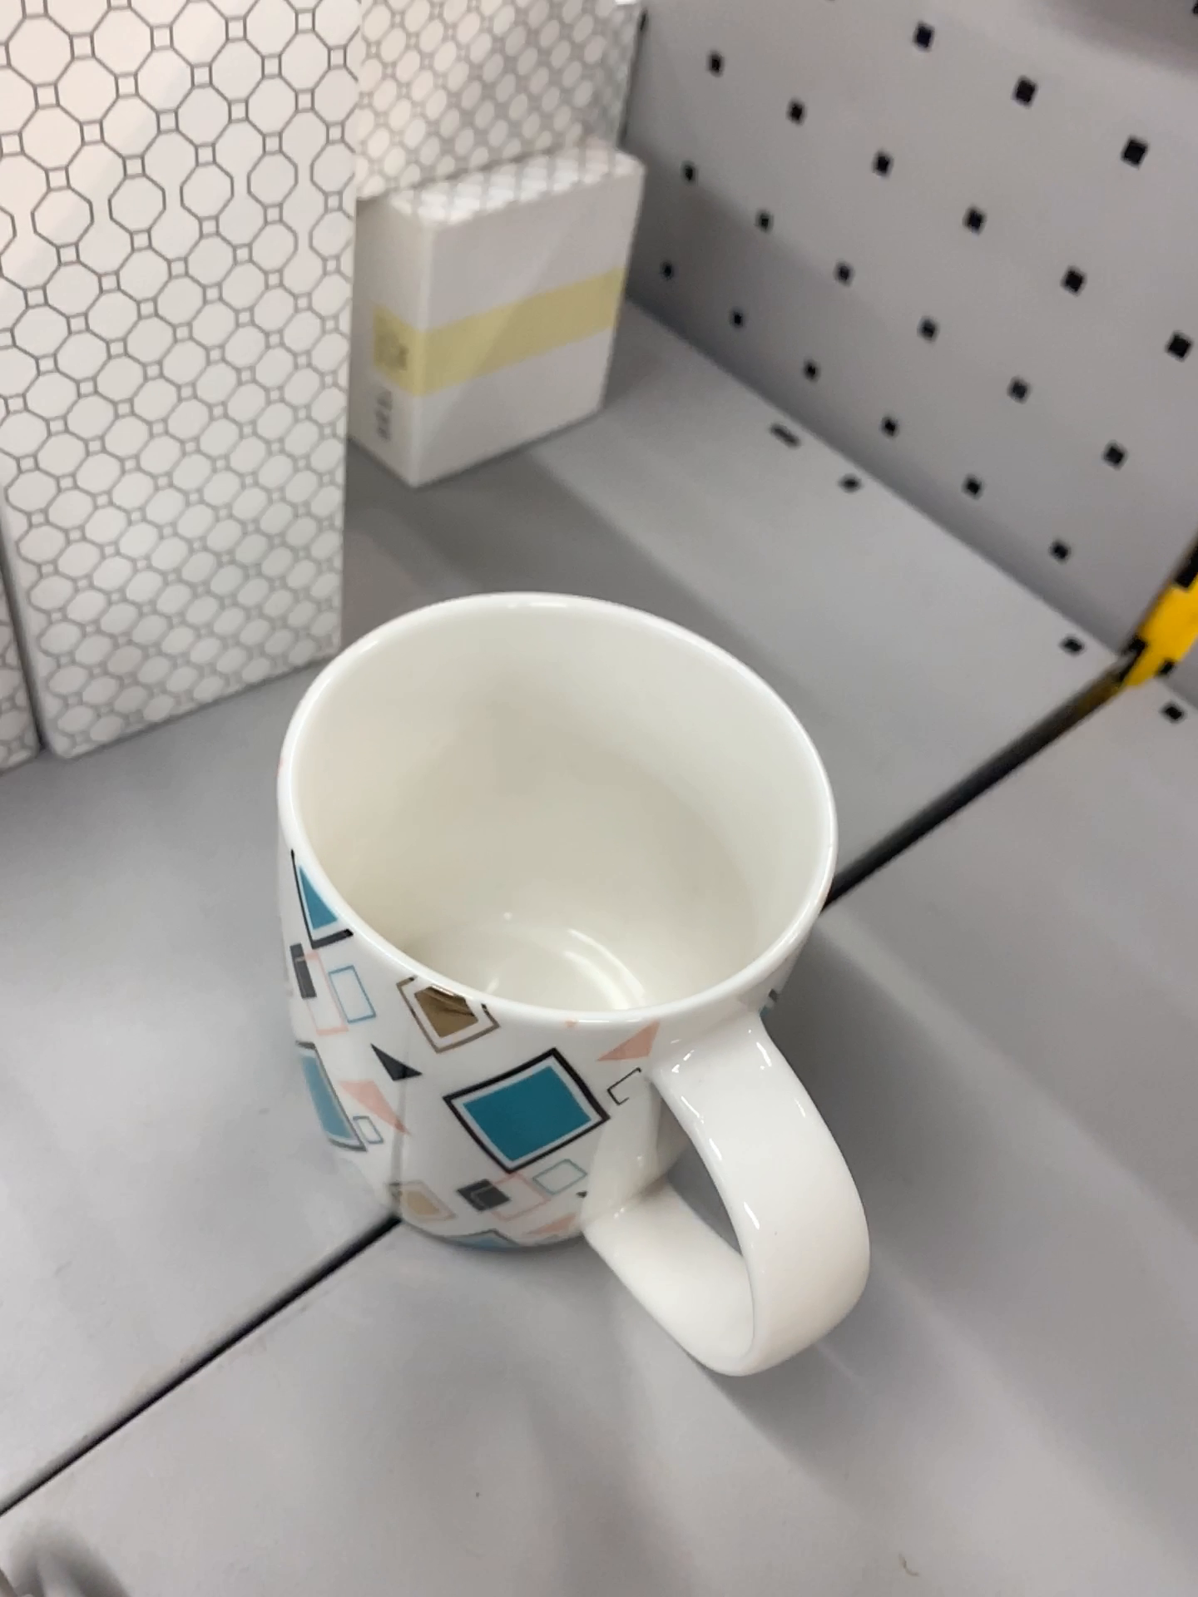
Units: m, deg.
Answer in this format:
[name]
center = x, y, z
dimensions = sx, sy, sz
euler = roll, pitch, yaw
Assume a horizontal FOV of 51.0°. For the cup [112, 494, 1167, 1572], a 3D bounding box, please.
[cup]
center = -0.003, 0.032, 0.211
dimensions = 0.100, 0.090, 0.120
euler = -24, 60, -29
